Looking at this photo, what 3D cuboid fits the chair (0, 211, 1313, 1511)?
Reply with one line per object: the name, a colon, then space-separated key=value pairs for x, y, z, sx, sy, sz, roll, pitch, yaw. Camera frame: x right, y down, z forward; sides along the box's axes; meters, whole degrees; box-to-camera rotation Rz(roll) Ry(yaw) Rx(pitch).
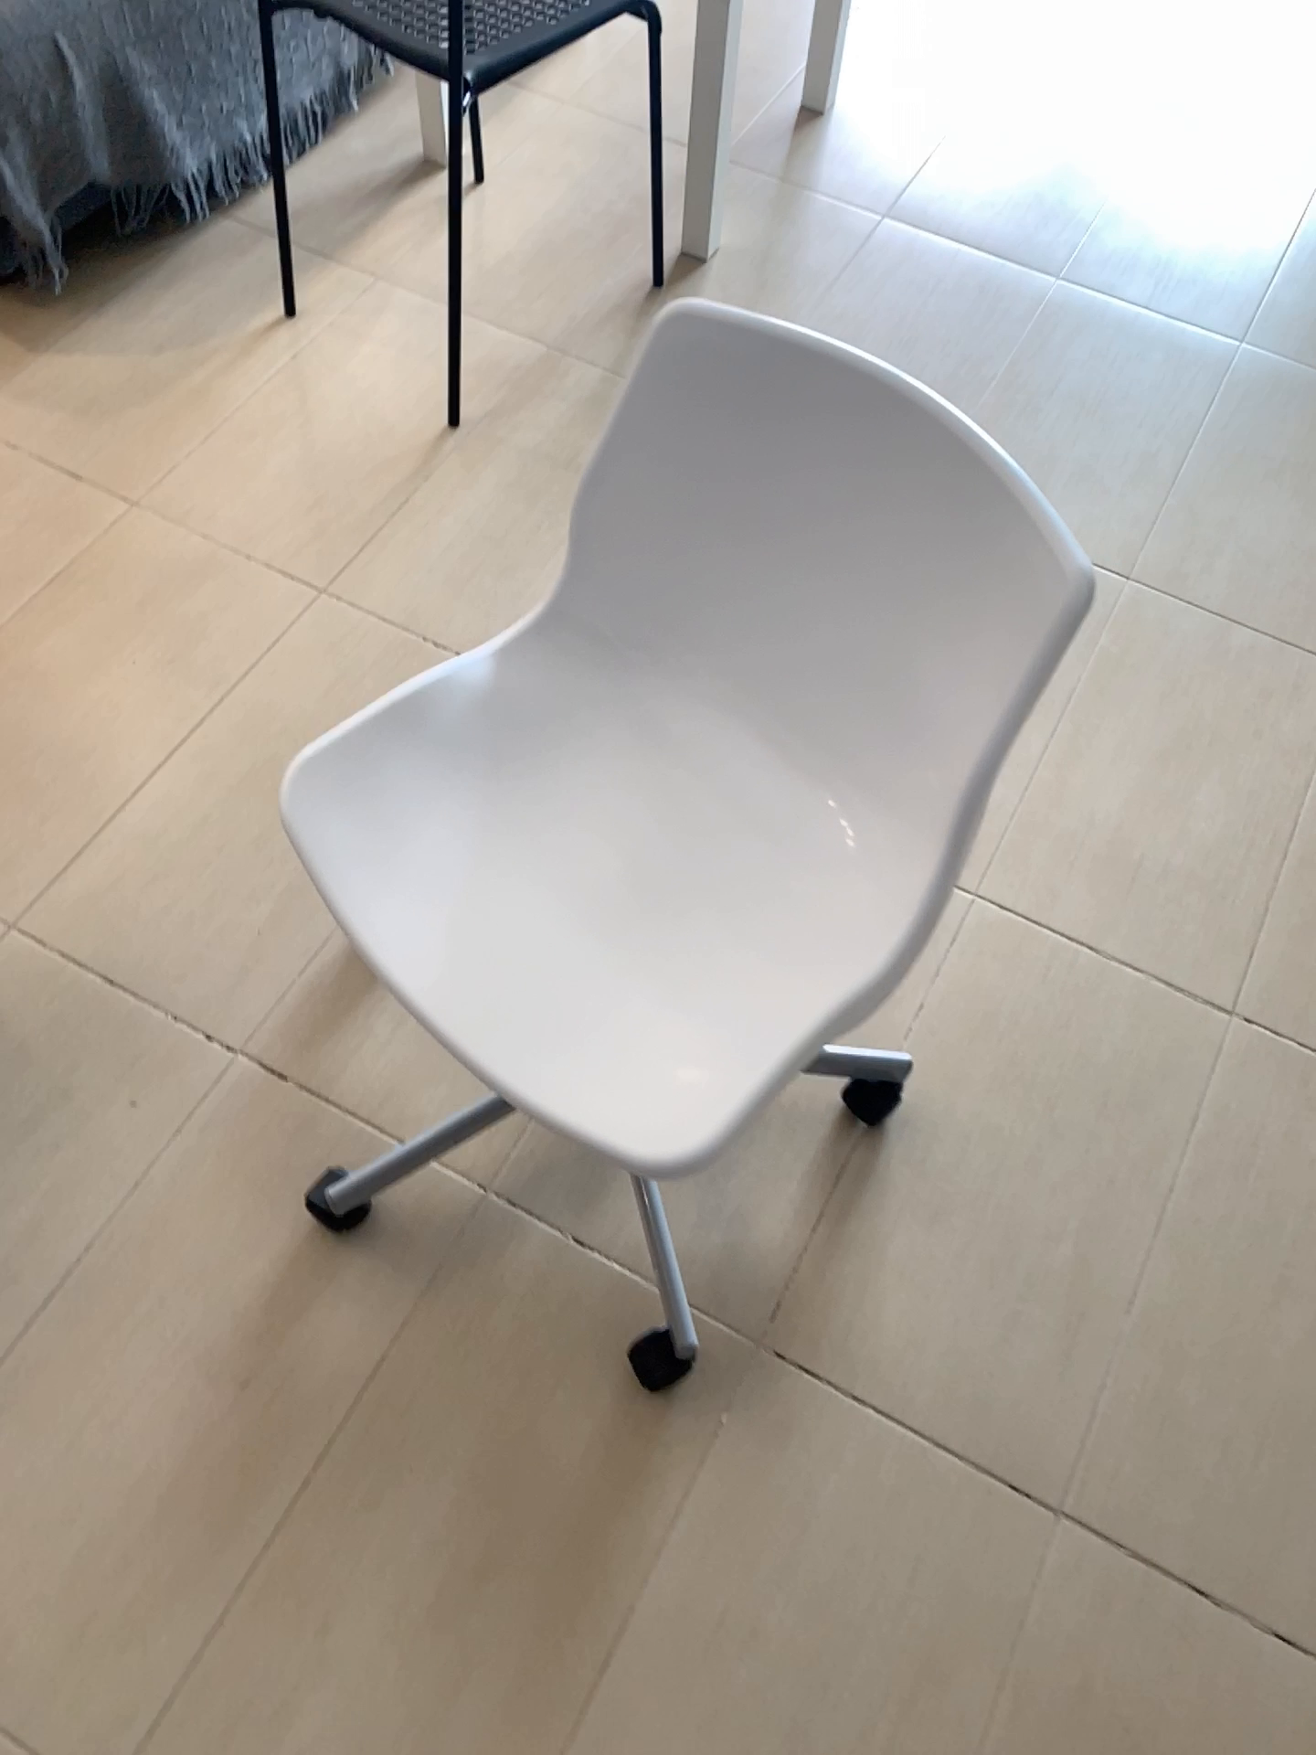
chair: x=-0.017 y=-0.007 z=1.230 sx=0.642 sy=0.647 sz=0.781 roll=38 pitch=64 yaw=18
